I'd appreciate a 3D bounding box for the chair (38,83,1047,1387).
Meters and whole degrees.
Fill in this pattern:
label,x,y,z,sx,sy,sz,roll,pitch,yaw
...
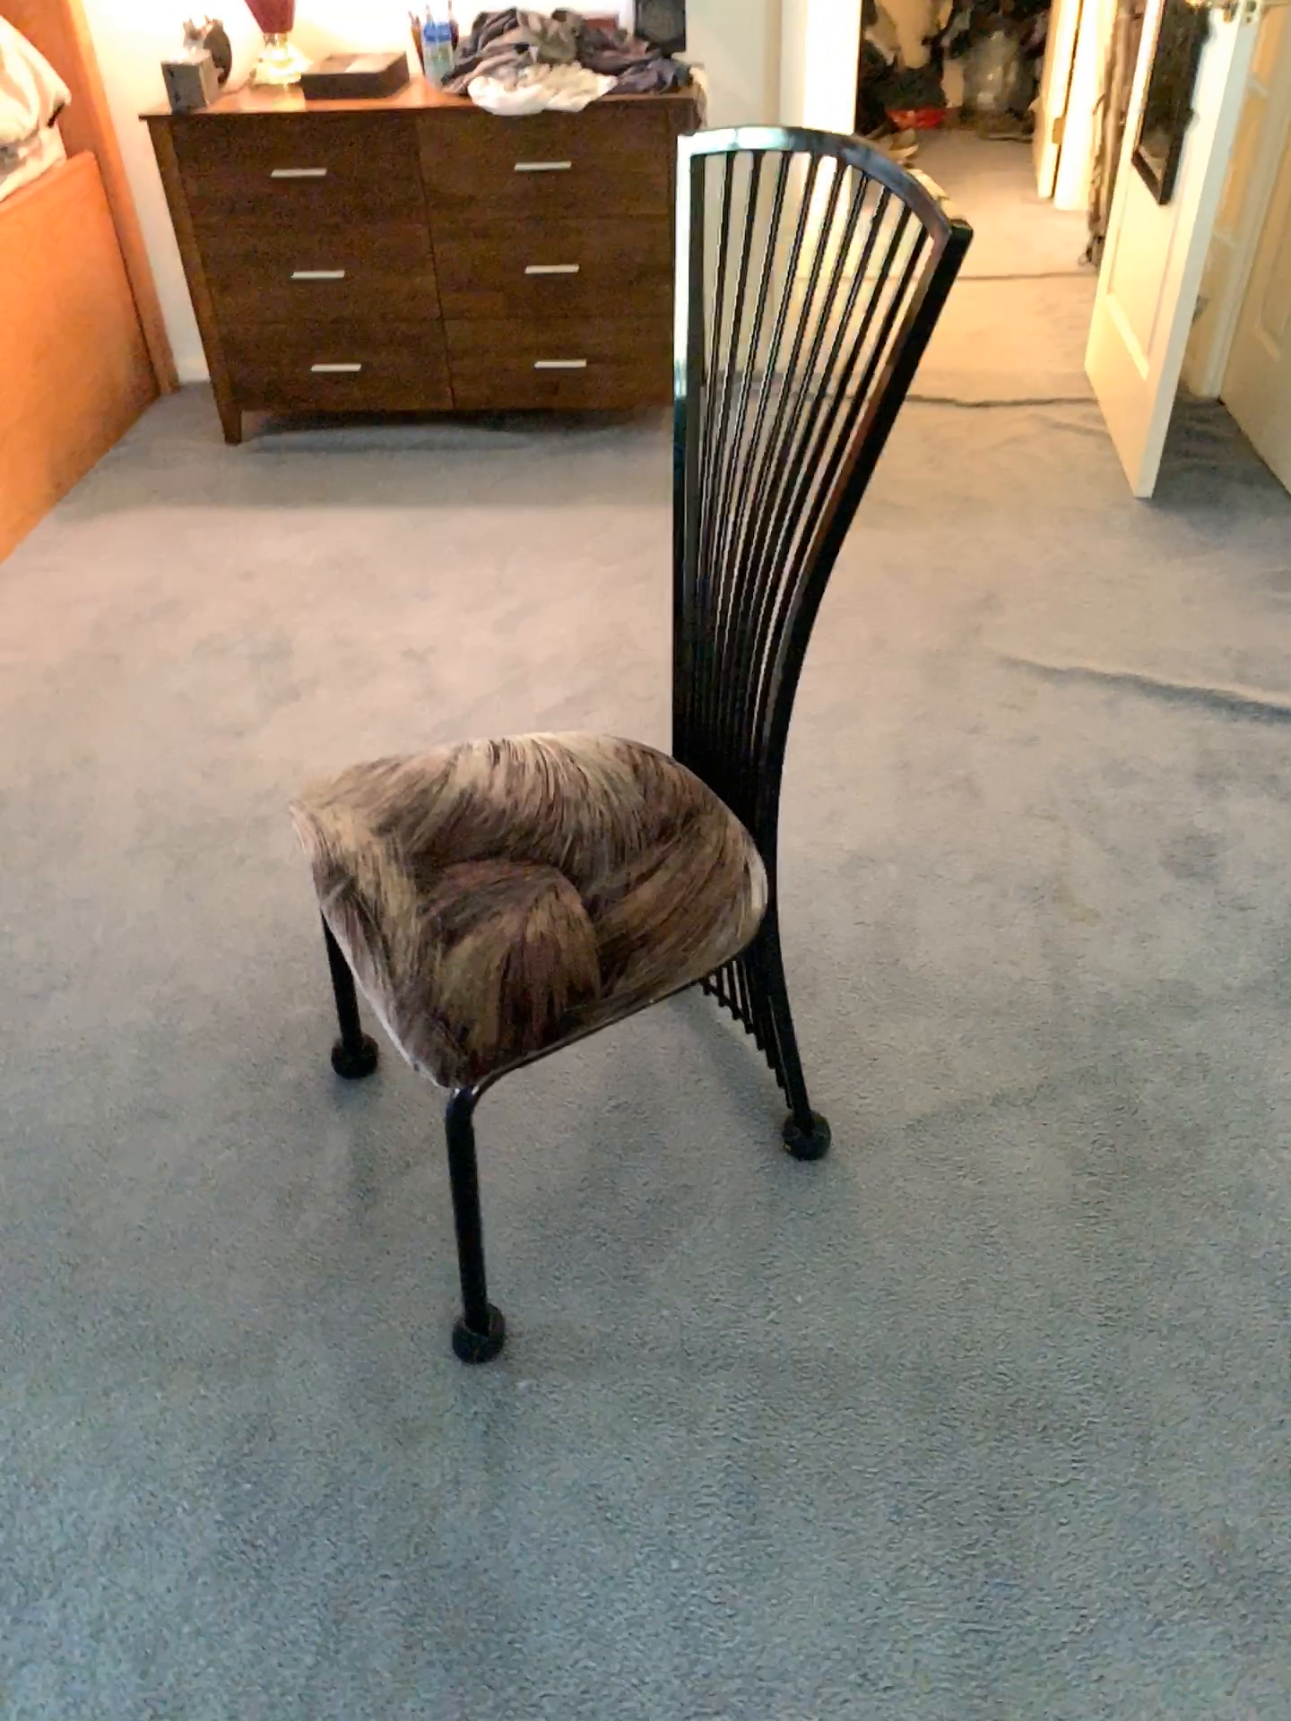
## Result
label,x,y,z,sx,sy,sz,roll,pitch,yaw
chair,-0.088,-0.101,1.228,0.540,0.974,0.513,-20,42,-21
